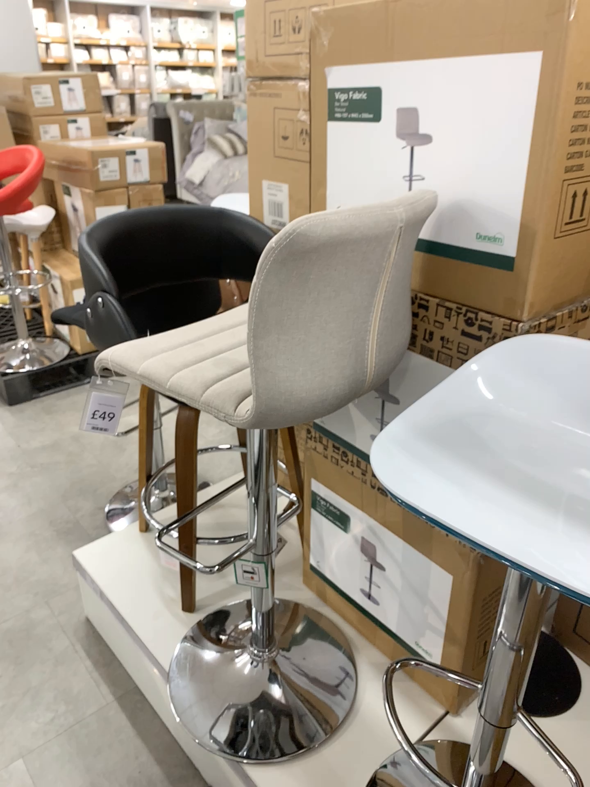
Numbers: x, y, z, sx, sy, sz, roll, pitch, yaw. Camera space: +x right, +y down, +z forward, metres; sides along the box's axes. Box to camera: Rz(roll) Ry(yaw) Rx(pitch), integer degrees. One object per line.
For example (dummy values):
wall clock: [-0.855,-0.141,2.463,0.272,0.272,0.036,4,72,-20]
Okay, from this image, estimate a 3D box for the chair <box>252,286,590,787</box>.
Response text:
chair: [0.228,0.340,0.839,0.389,0.826,0.406,-23,35,-39]

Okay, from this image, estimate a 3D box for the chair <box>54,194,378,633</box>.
chair: [-0.184,0.004,1.537,0.536,0.866,0.490,-19,33,-34]

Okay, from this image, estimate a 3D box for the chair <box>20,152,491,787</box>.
chair: [-0.069,0.127,1.103,0.466,0.985,0.510,-23,35,-39]
